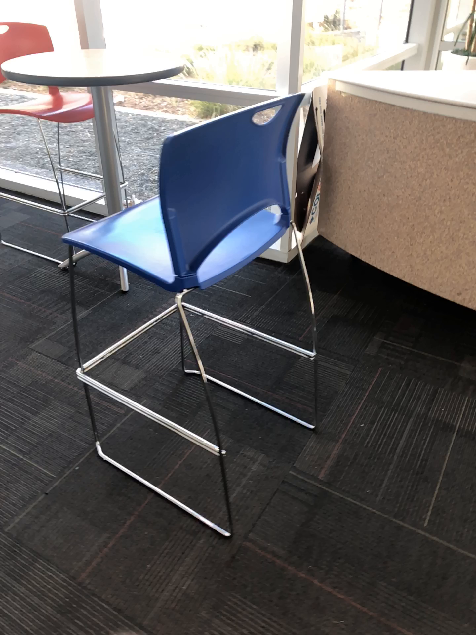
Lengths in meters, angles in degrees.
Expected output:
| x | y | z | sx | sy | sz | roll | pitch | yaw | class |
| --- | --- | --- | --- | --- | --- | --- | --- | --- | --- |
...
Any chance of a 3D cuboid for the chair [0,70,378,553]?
| x | y | z | sx | sy | sz | roll | pitch | yaw | class |
| --- | --- | --- | --- | --- | --- | --- | --- | --- | --- |
| -0.101 | -0.053 | 1.354 | 0.612 | 0.965 | 0.551 | 21 | 38 | 30 | chair |
